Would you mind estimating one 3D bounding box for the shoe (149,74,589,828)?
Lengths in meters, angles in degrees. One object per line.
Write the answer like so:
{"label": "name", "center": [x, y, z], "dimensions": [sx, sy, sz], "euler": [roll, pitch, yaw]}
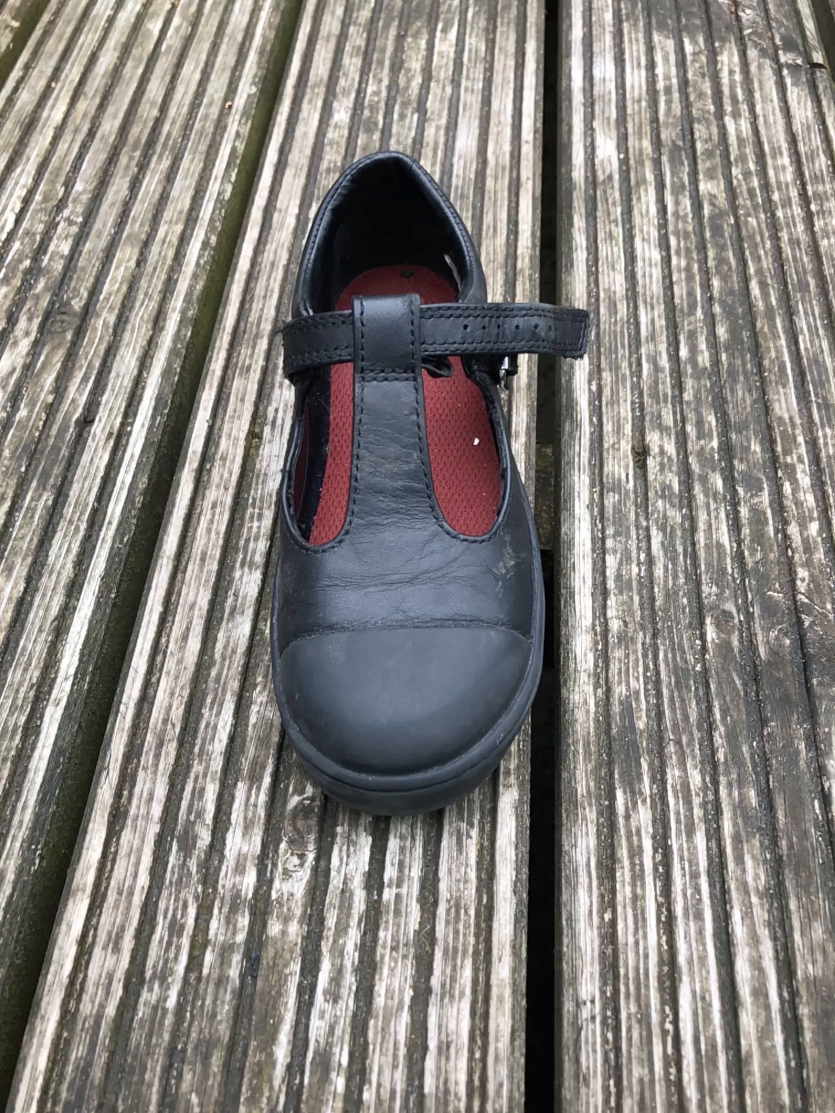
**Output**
{"label": "shoe", "center": [-0.003, -0.036, 0.251], "dimensions": [0.080, 0.080, 0.194], "euler": [1, 59, 3]}
